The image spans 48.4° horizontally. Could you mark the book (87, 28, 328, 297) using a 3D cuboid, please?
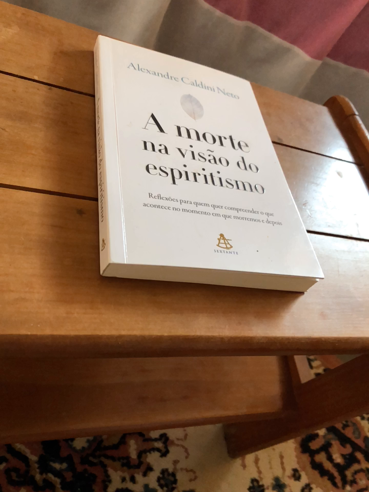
[{"bbox_3d":[0.006,-0.062,0.276,0.136,0.020,0.197,7,54,-24],"label":"book"}]
